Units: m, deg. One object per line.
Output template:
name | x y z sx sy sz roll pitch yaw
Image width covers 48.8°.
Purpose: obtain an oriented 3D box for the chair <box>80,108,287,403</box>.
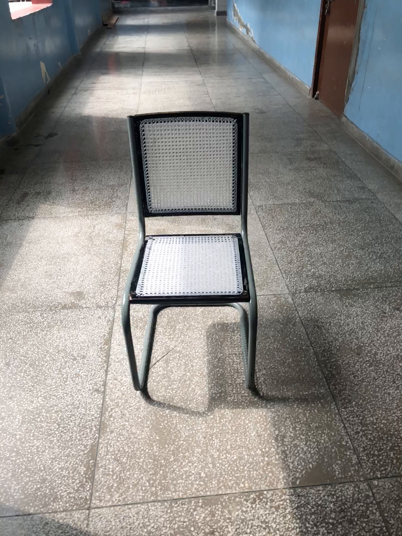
chair | -0.038 -0.043 1.515 0.490 0.816 0.573 -1 35 0
